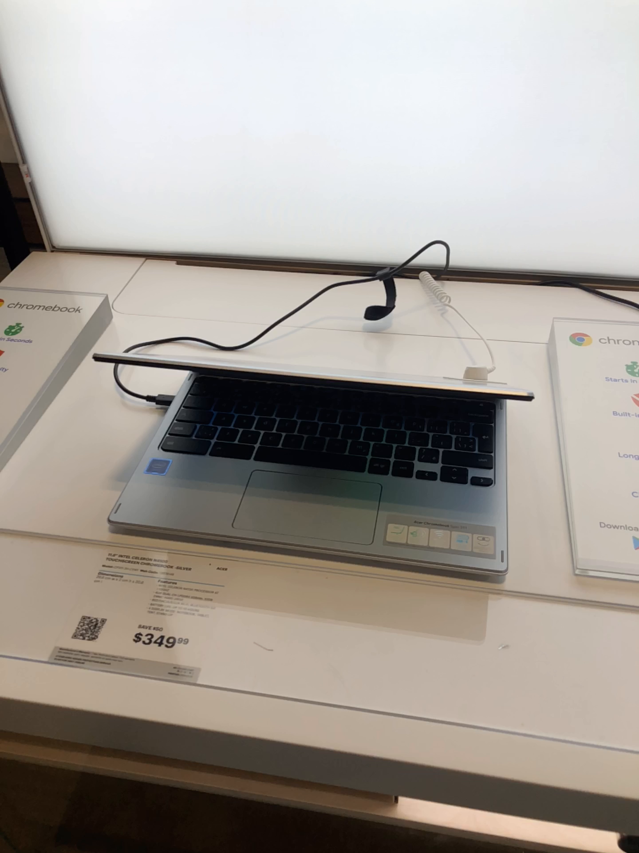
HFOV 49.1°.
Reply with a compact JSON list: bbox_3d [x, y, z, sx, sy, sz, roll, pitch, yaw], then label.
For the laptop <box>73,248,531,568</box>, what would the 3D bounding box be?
[{"bbox_3d":[0.003,-0.026,0.530,0.279,0.123,0.192,6,41,9],"label":"laptop"}]
